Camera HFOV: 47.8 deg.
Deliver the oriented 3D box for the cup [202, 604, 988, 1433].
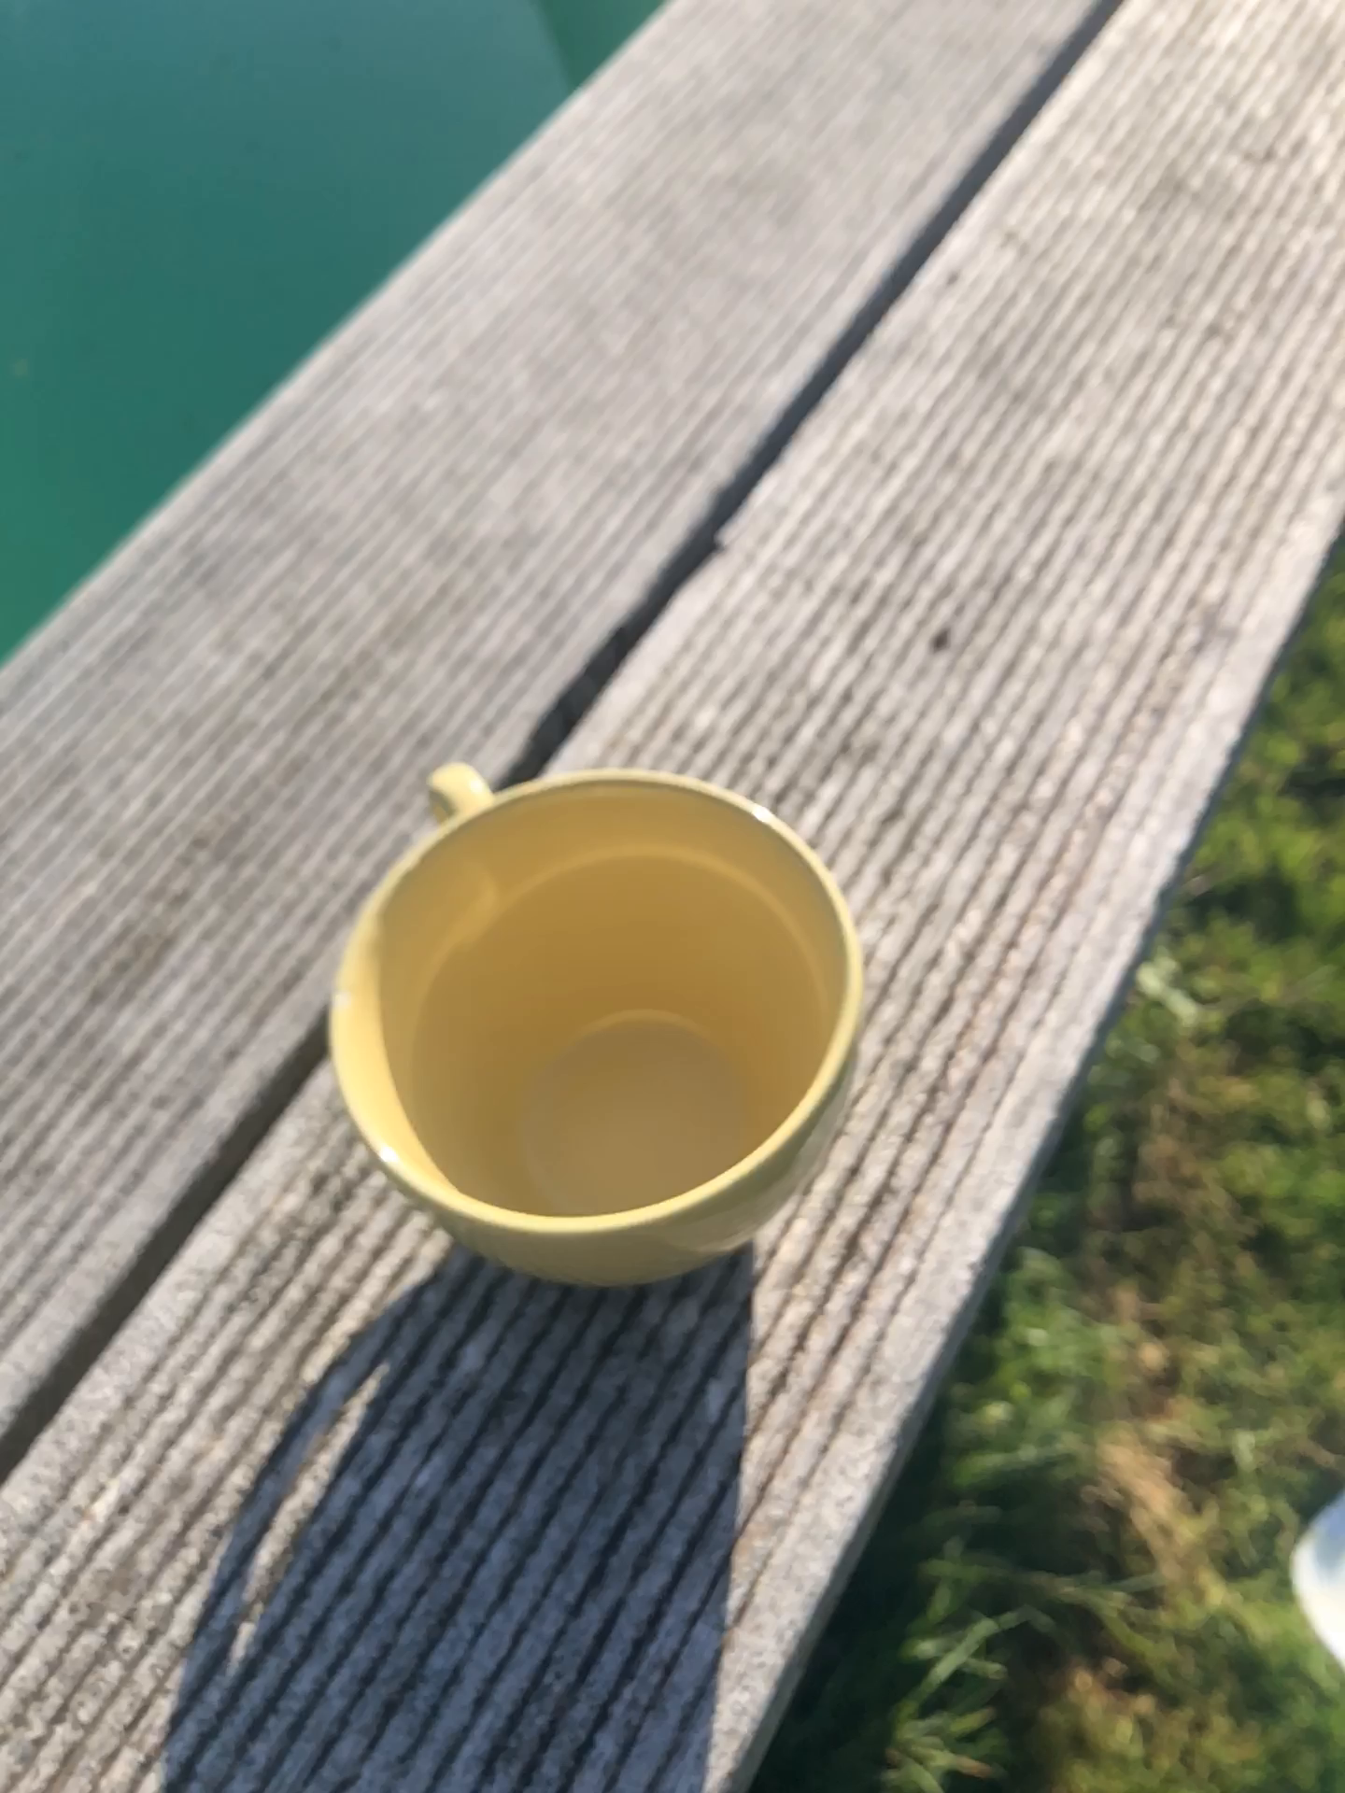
[{"bbox_3d":[-0.015,0.017,0.276,0.089,0.053,0.112,-29,58,-13],"label":"cup"}]
